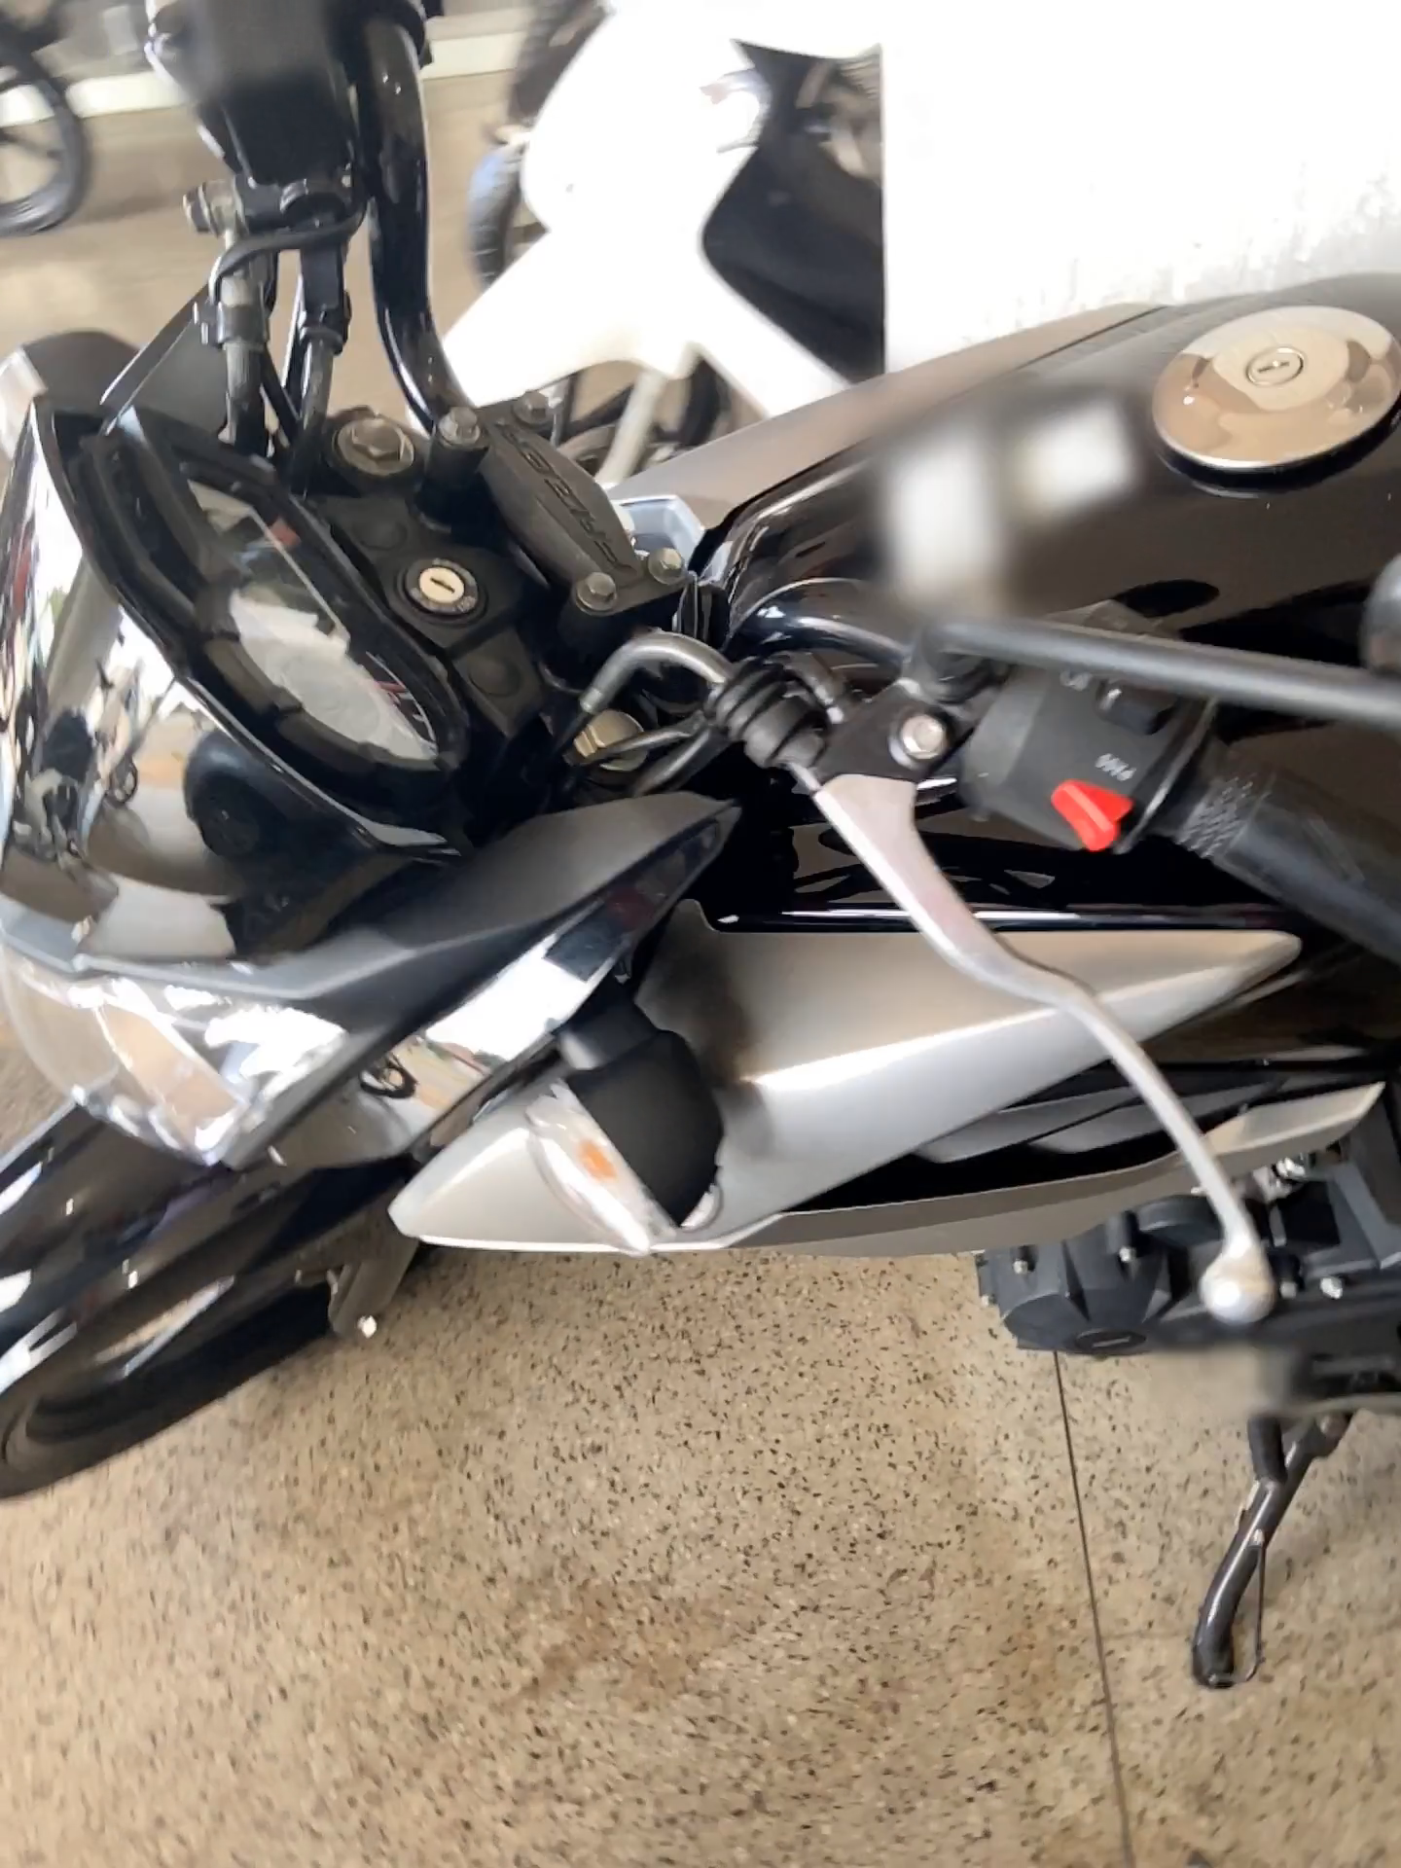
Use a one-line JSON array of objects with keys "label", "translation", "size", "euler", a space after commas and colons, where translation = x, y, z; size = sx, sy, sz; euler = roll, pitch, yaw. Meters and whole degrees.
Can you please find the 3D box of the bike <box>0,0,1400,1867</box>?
[{"label": "bike", "translation": [0.425, 0.160, 0.720], "size": [2.002, 1.332, 0.820], "euler": [-7, 43, 2]}]
